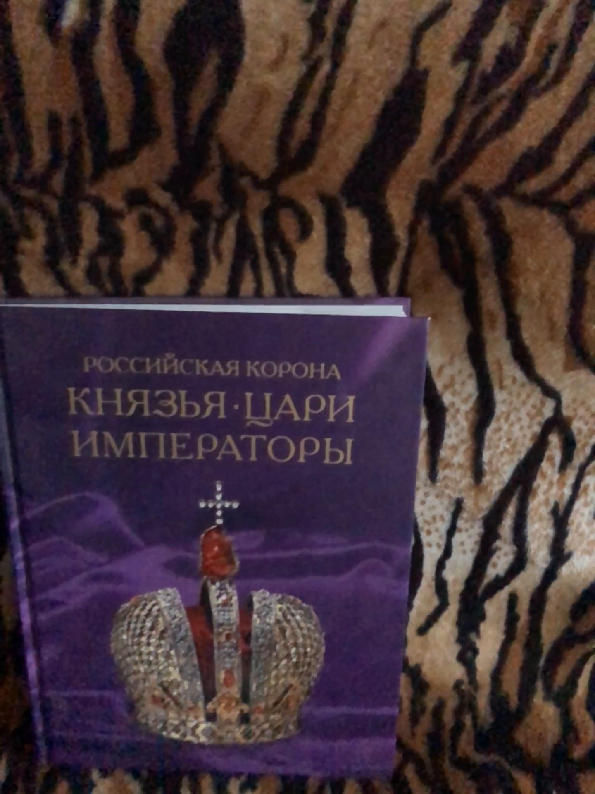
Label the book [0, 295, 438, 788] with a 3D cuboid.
[{"bbox_3d":[-0.048,0.088,0.364,0.223,0.279,0.035,1,18,2],"label":"book"}]
